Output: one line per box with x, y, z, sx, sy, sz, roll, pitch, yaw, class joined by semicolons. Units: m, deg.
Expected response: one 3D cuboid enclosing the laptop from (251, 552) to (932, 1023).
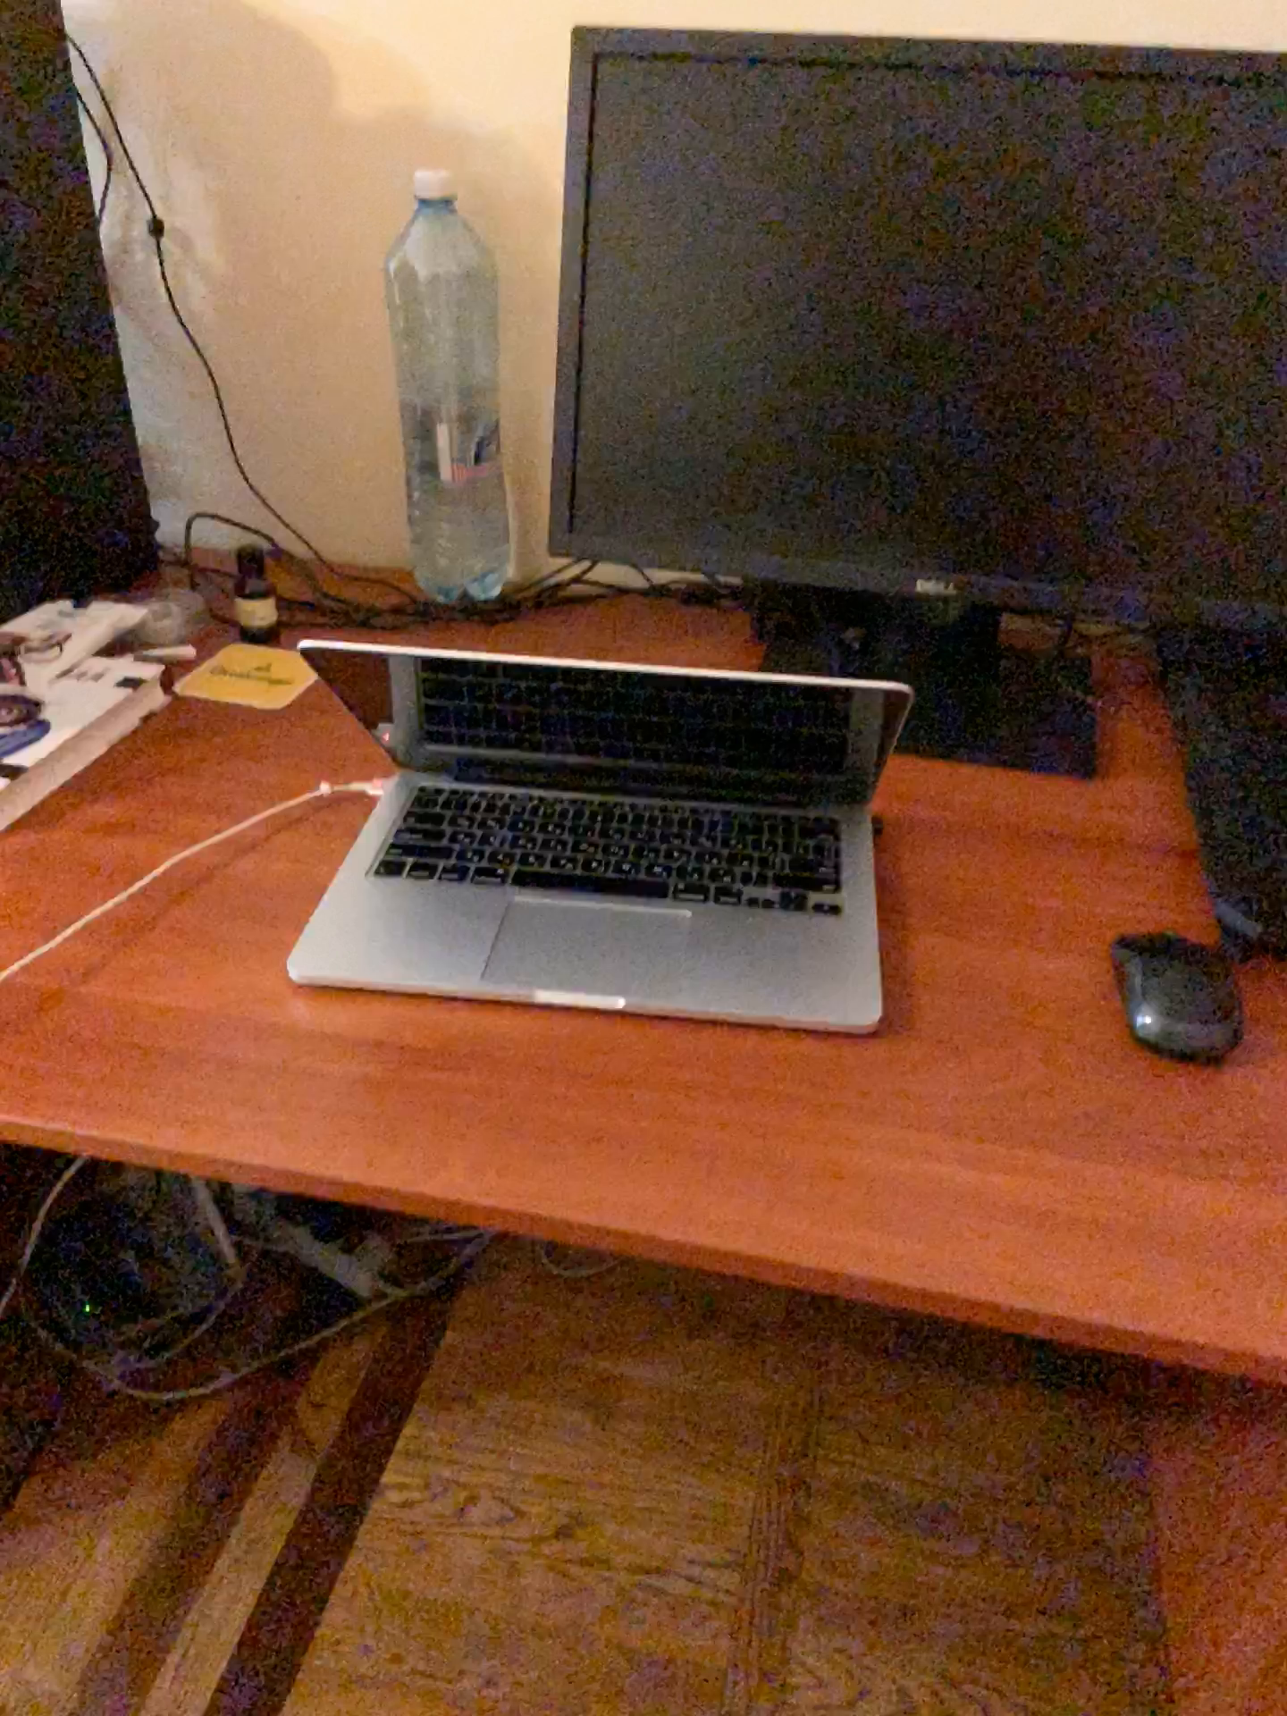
-0.017;-0.049;0.704;0.306;0.148;0.205;5;33;5;laptop
